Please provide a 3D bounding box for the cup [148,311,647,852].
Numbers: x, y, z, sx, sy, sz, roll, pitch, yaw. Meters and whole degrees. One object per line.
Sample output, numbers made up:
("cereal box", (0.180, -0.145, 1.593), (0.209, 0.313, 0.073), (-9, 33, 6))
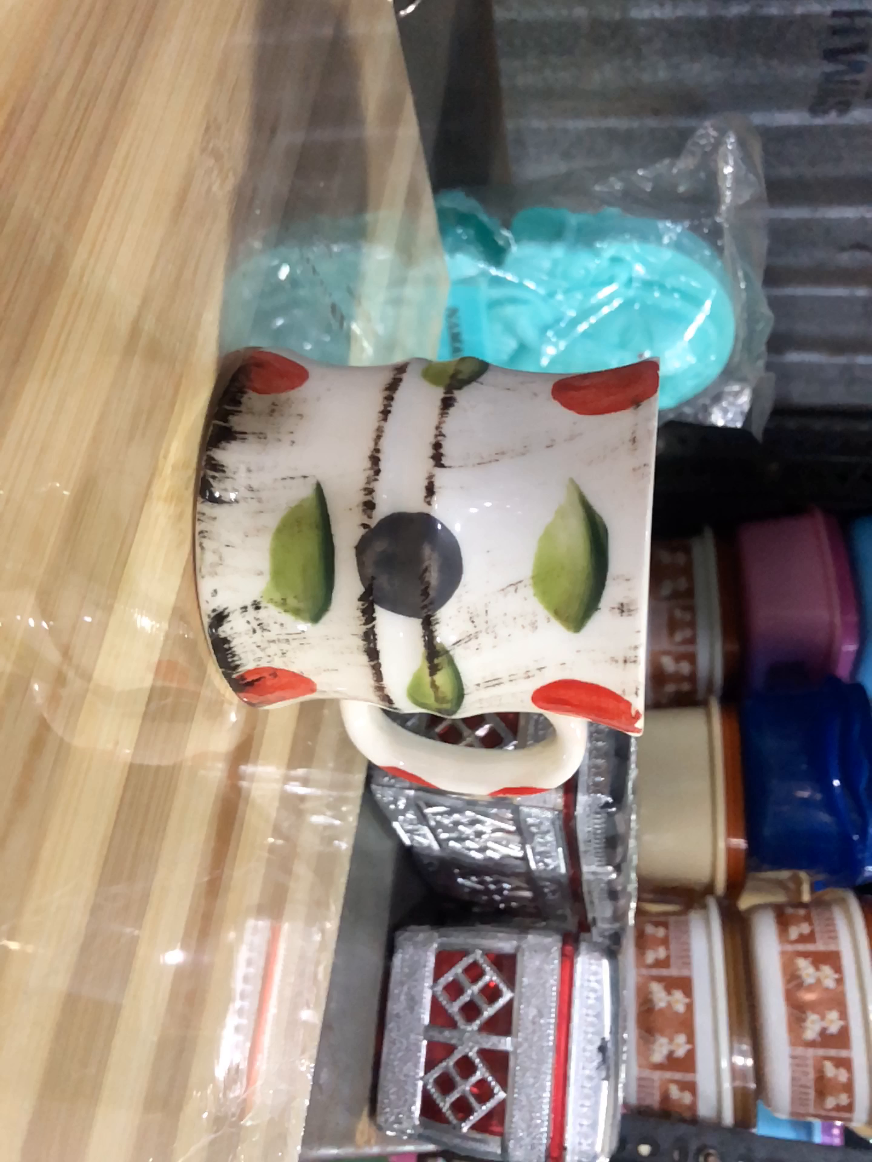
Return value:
("cup", (0.003, 0.005, 0.216), (0.110, 0.080, 0.060), (79, 17, -51))
